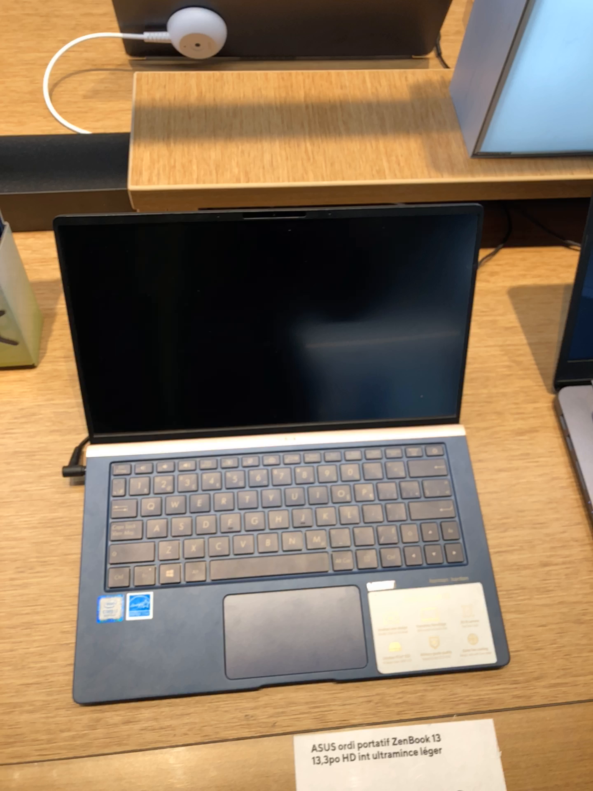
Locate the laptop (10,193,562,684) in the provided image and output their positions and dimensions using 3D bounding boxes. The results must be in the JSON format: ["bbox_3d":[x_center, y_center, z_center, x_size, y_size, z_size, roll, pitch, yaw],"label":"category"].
[{"bbox_3d":[-0.010,0.026,0.442,0.276,0.130,0.276,-2,65,-3],"label":"laptop"}]
